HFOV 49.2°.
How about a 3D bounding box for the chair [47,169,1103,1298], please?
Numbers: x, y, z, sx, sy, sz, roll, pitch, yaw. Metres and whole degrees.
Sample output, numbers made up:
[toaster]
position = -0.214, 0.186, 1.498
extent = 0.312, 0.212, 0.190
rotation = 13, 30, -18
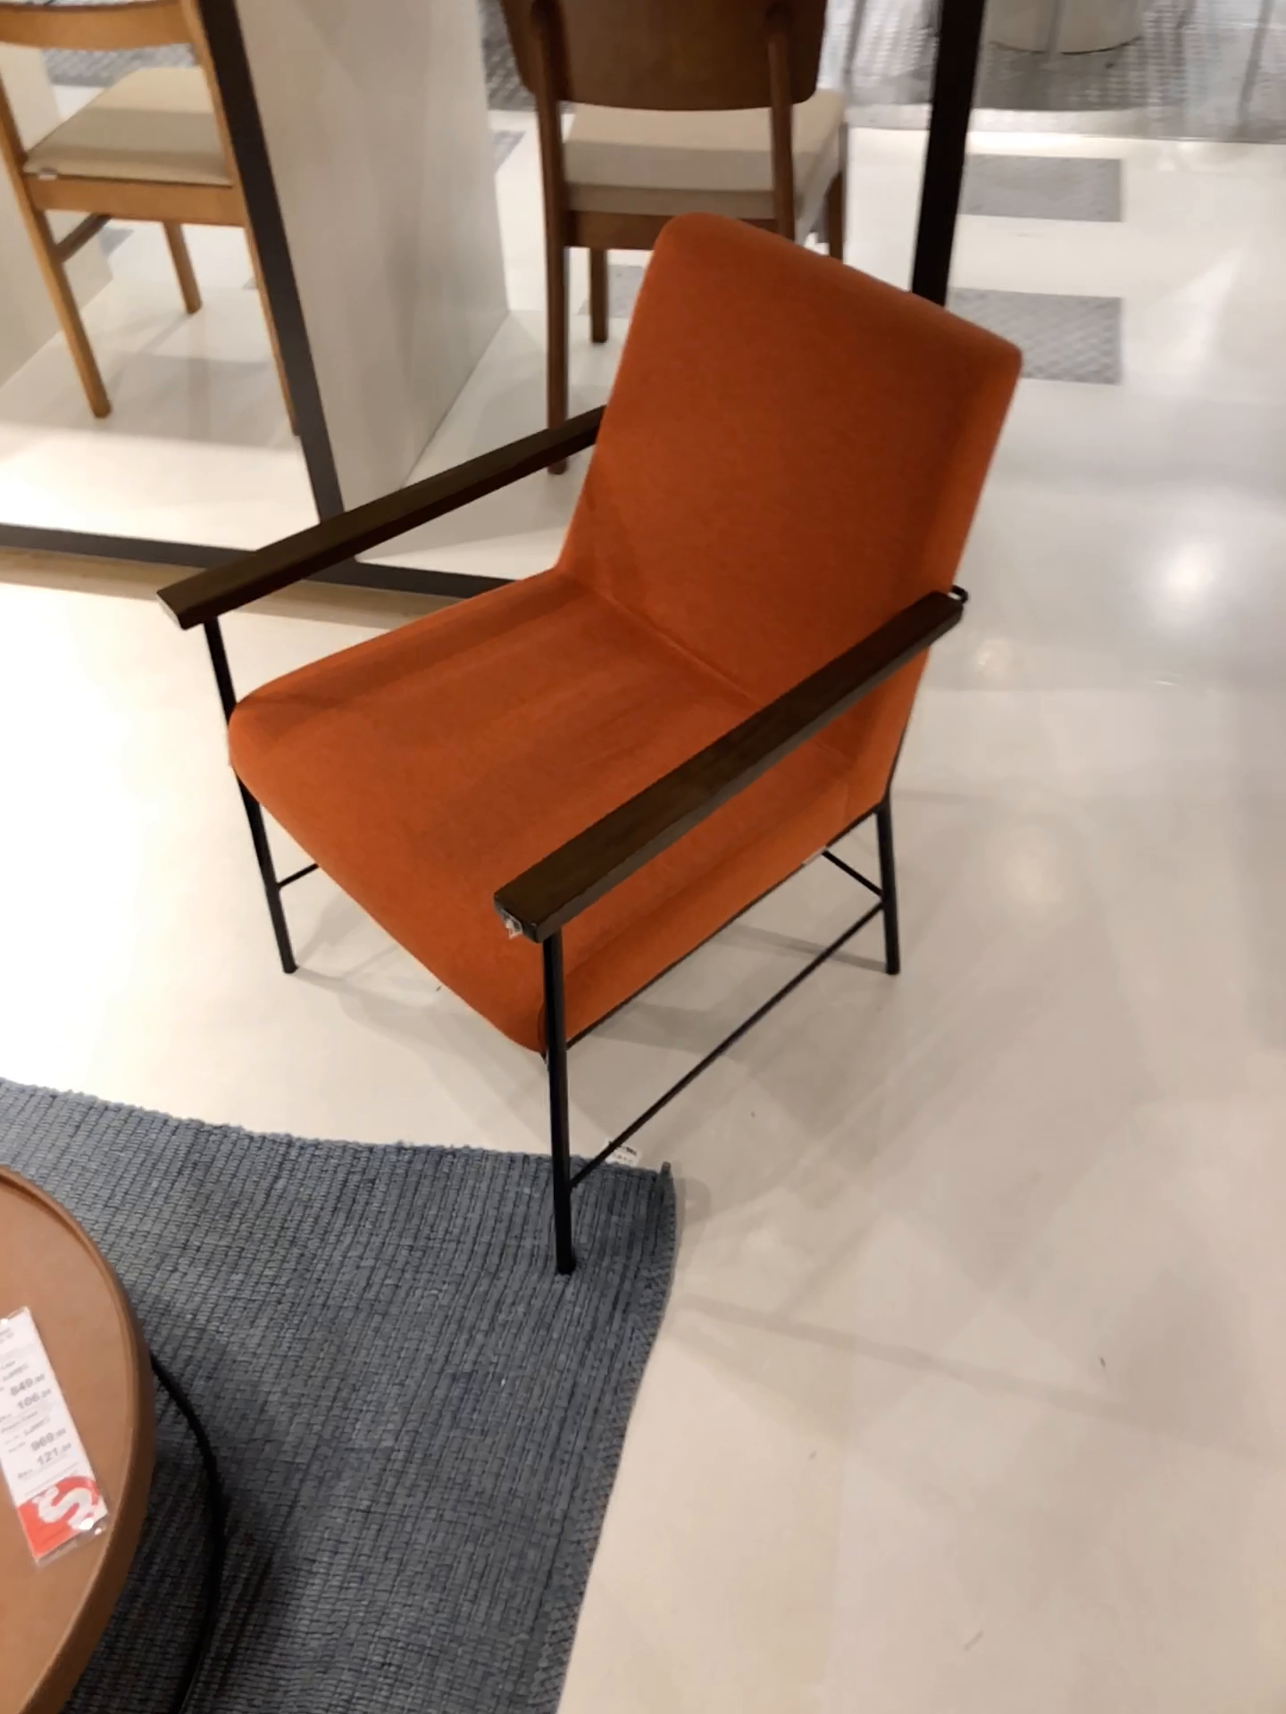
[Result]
[chair]
position = -0.054, -0.149, 1.564
extent = 0.702, 0.824, 0.652
rotation = -34, 54, -26
